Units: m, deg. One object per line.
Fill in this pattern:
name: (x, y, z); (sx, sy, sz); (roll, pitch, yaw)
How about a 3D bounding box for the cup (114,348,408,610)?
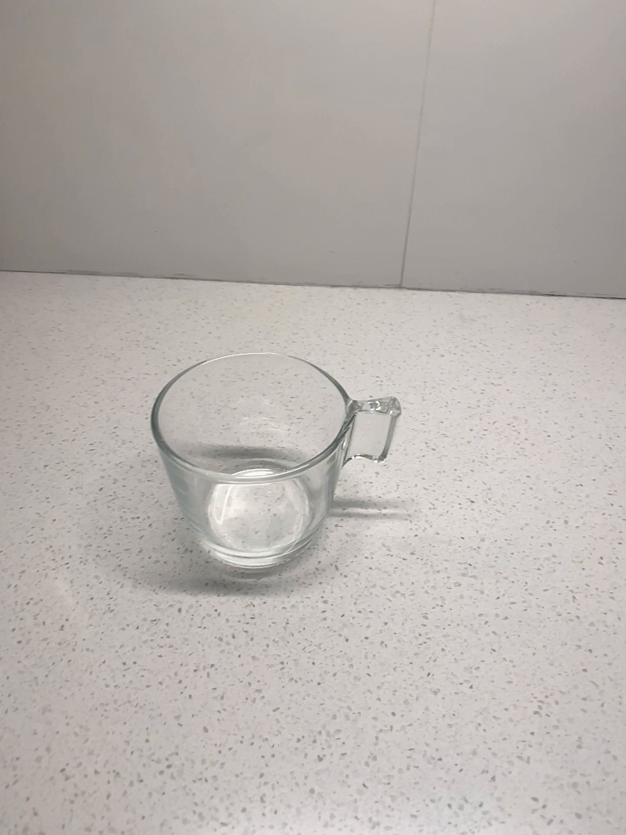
cup: (-0.021, 0.027, 0.302); (0.110, 0.080, 0.090); (0, 41, -2)
